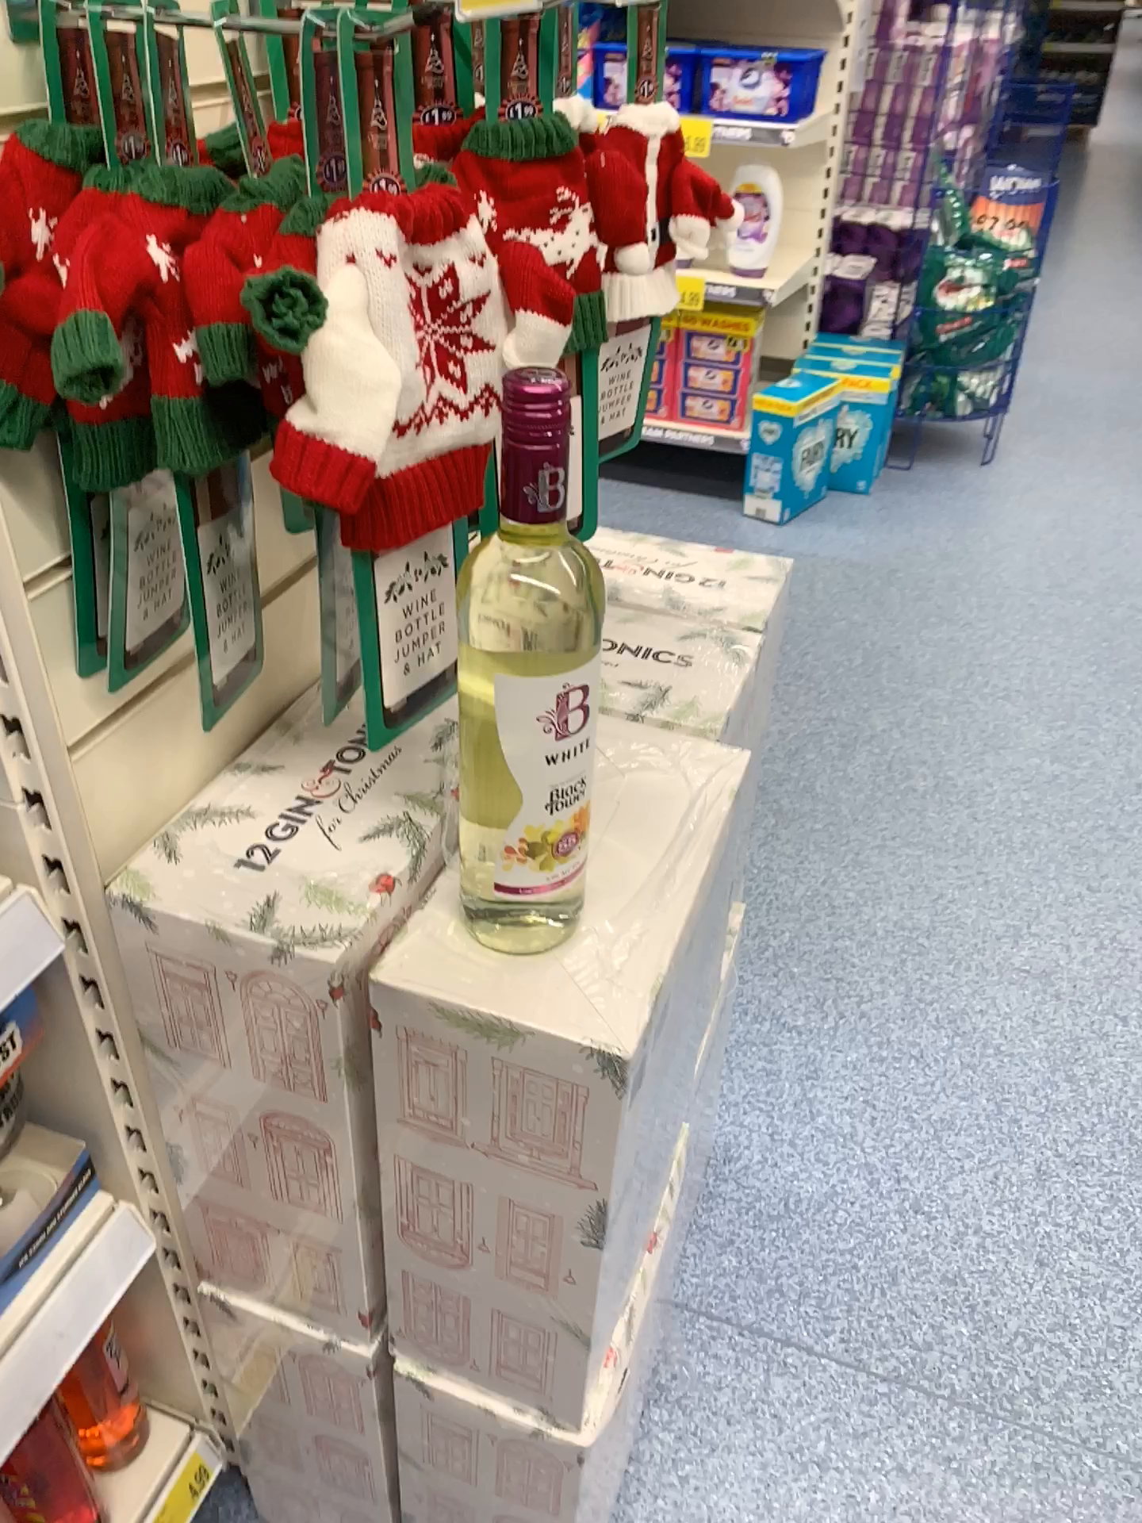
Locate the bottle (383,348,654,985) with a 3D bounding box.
[{"bbox_3d":[-0.025,-0.036,0.562,0.081,0.288,0.081,1,35,0],"label":"bottle"}]
